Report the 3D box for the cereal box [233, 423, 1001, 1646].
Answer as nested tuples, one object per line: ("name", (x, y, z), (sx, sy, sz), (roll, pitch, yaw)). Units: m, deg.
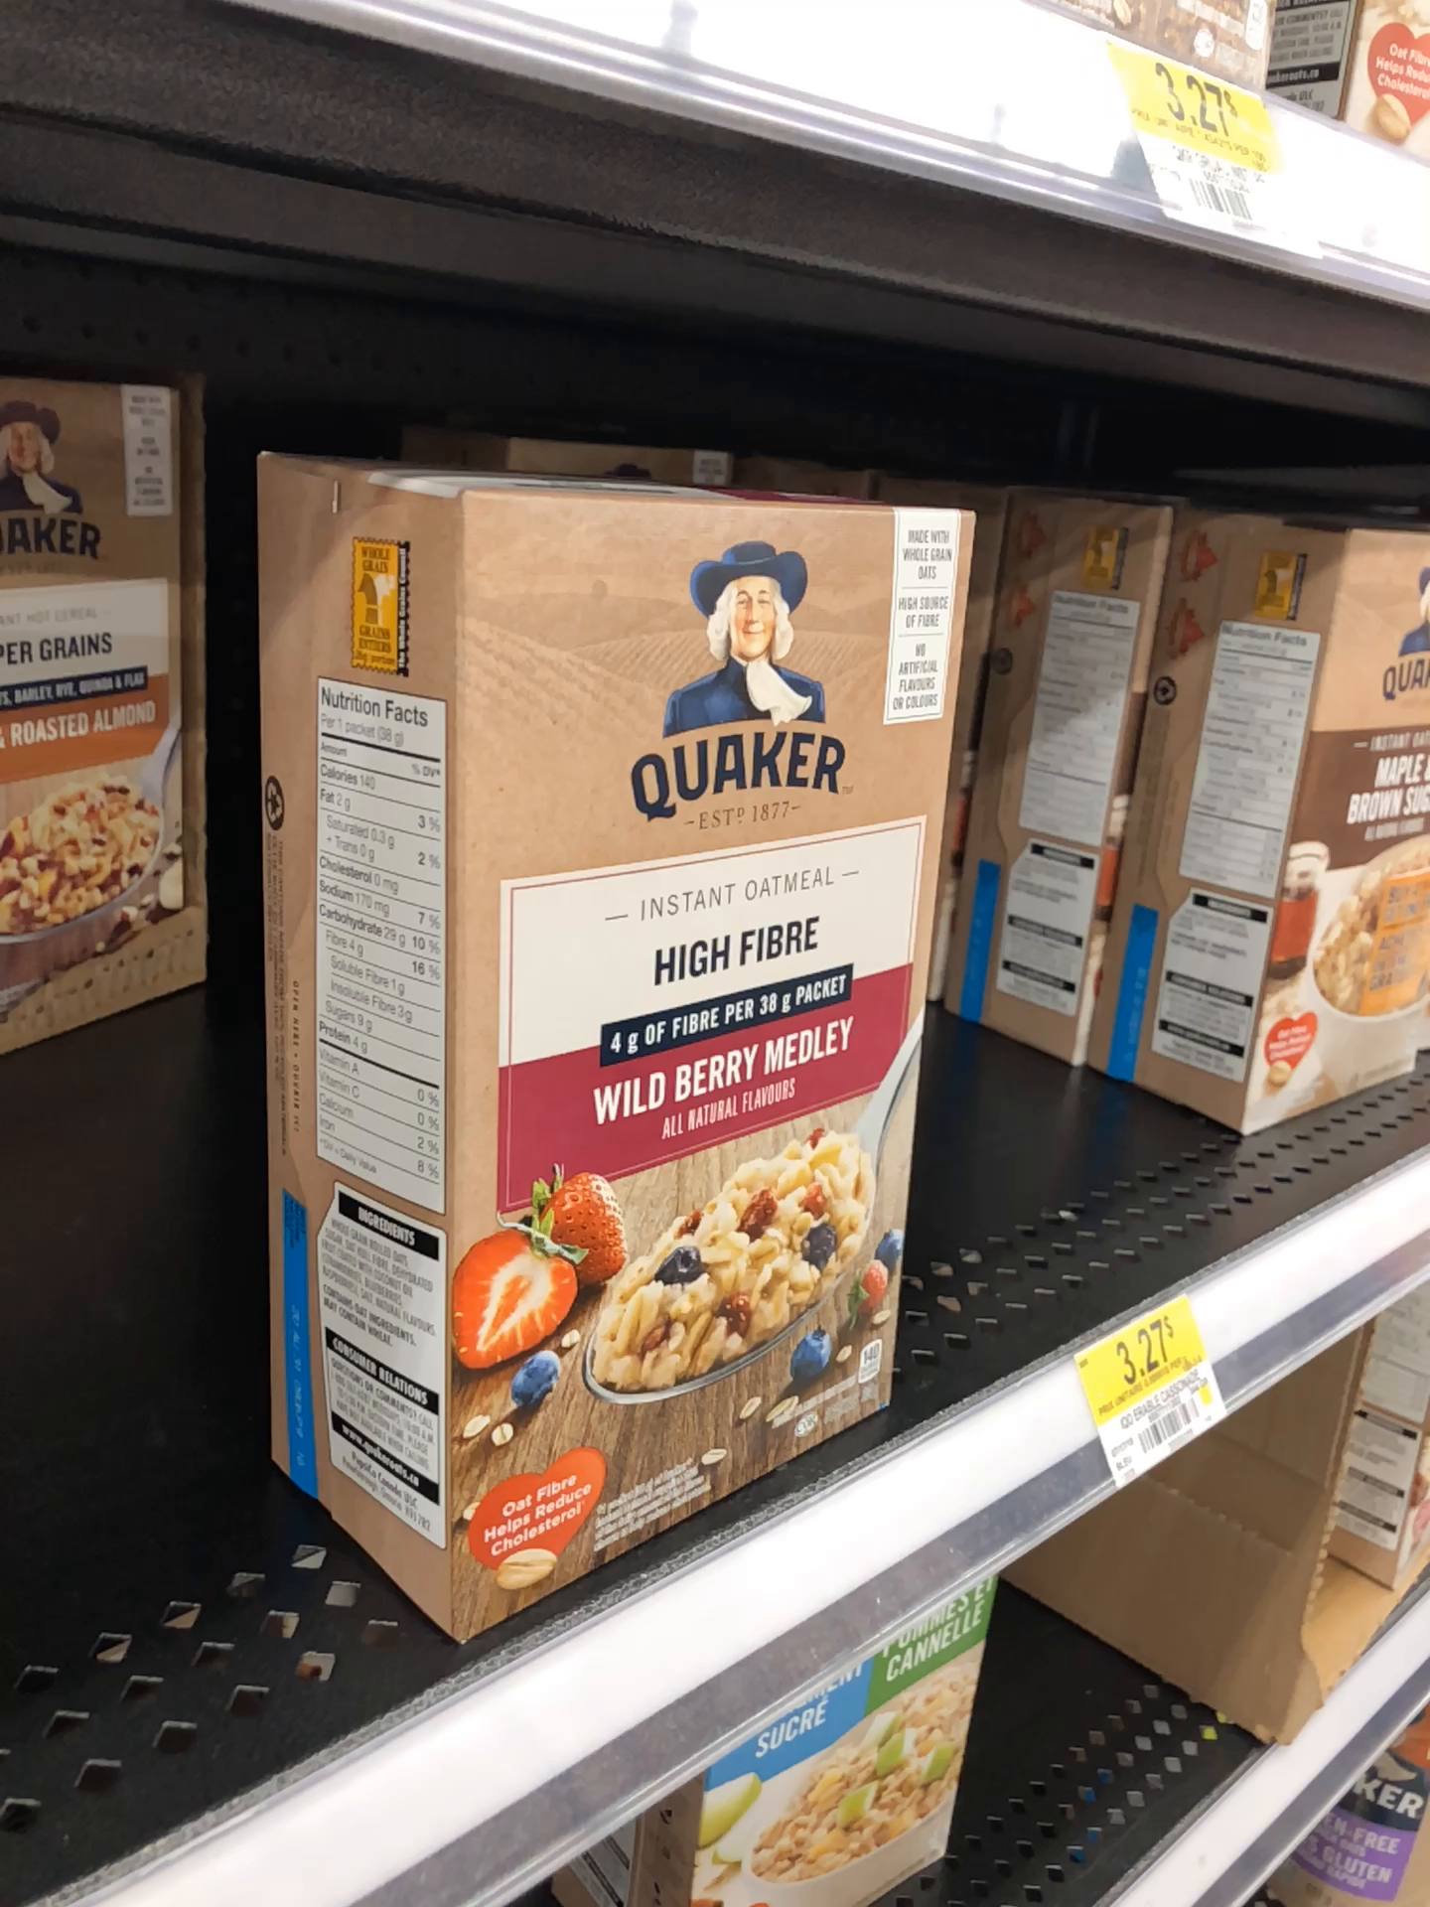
("cereal box", (-0.017, 0.005, 0.310), (0.130, 0.199, 0.060), (-12, 21, -43))
